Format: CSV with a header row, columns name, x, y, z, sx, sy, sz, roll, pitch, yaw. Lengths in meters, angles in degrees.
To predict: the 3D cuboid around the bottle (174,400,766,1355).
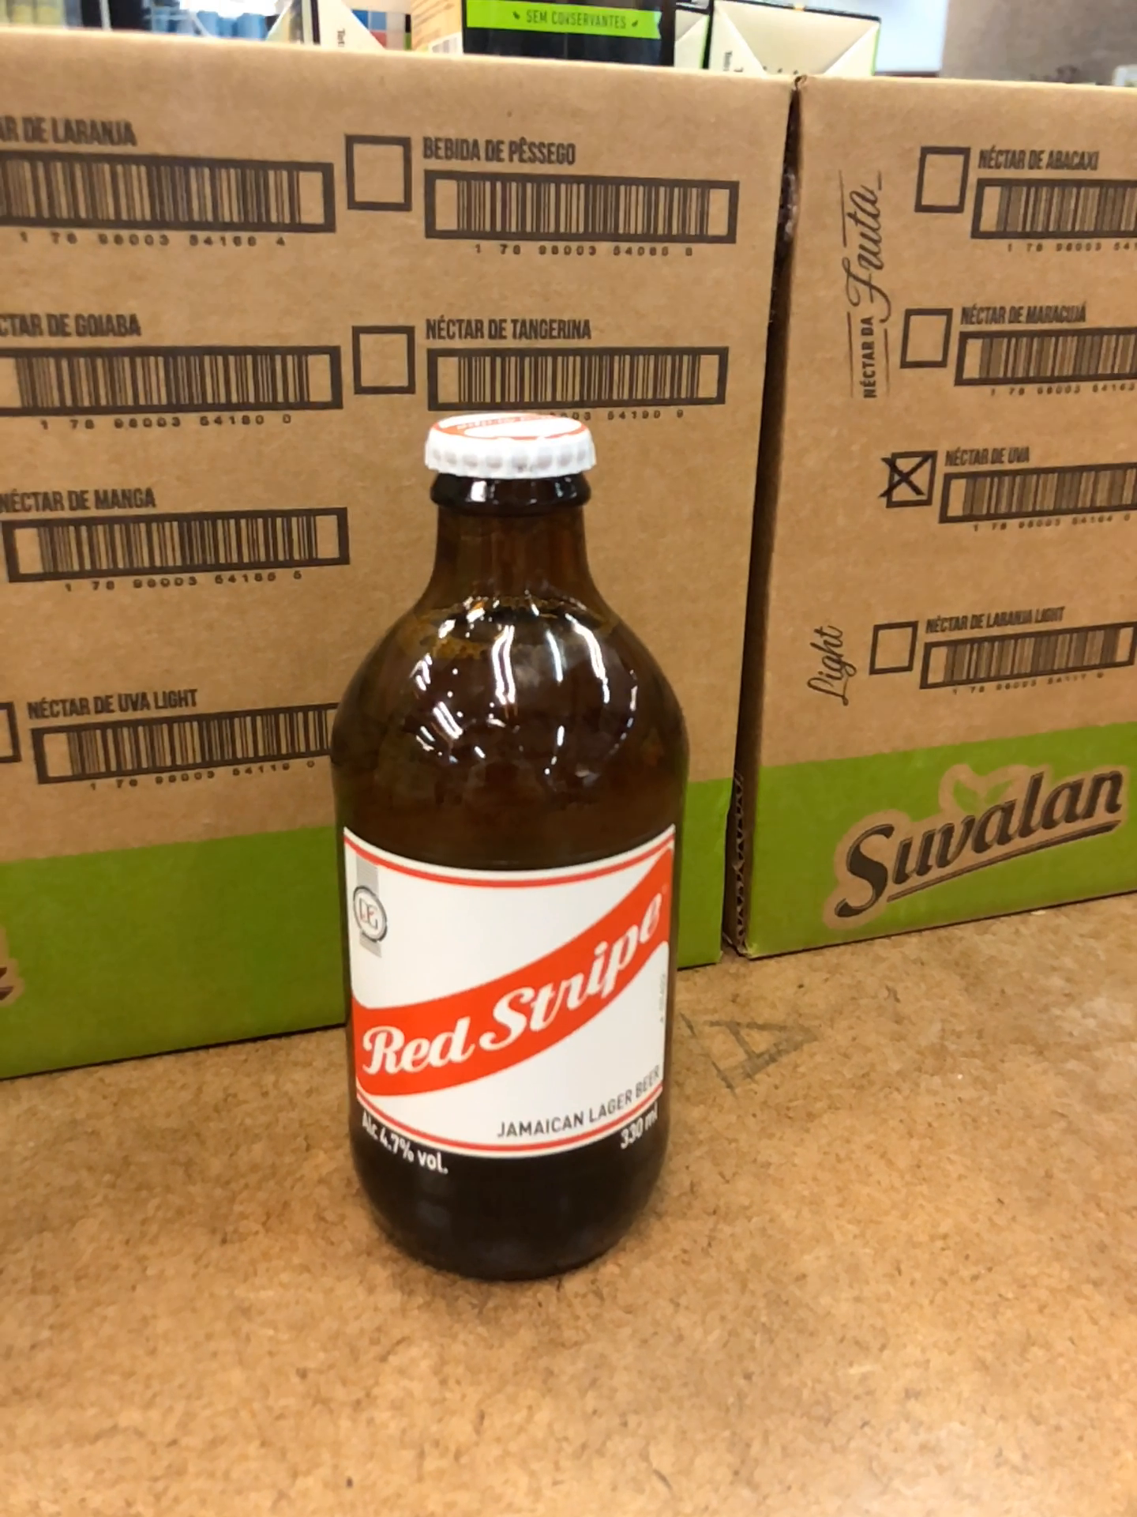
name,x,y,z,sx,sy,sz,roll,pitch,yaw
bottle,-0.015,0.021,0.233,0.080,0.159,0.070,0,22,-1
